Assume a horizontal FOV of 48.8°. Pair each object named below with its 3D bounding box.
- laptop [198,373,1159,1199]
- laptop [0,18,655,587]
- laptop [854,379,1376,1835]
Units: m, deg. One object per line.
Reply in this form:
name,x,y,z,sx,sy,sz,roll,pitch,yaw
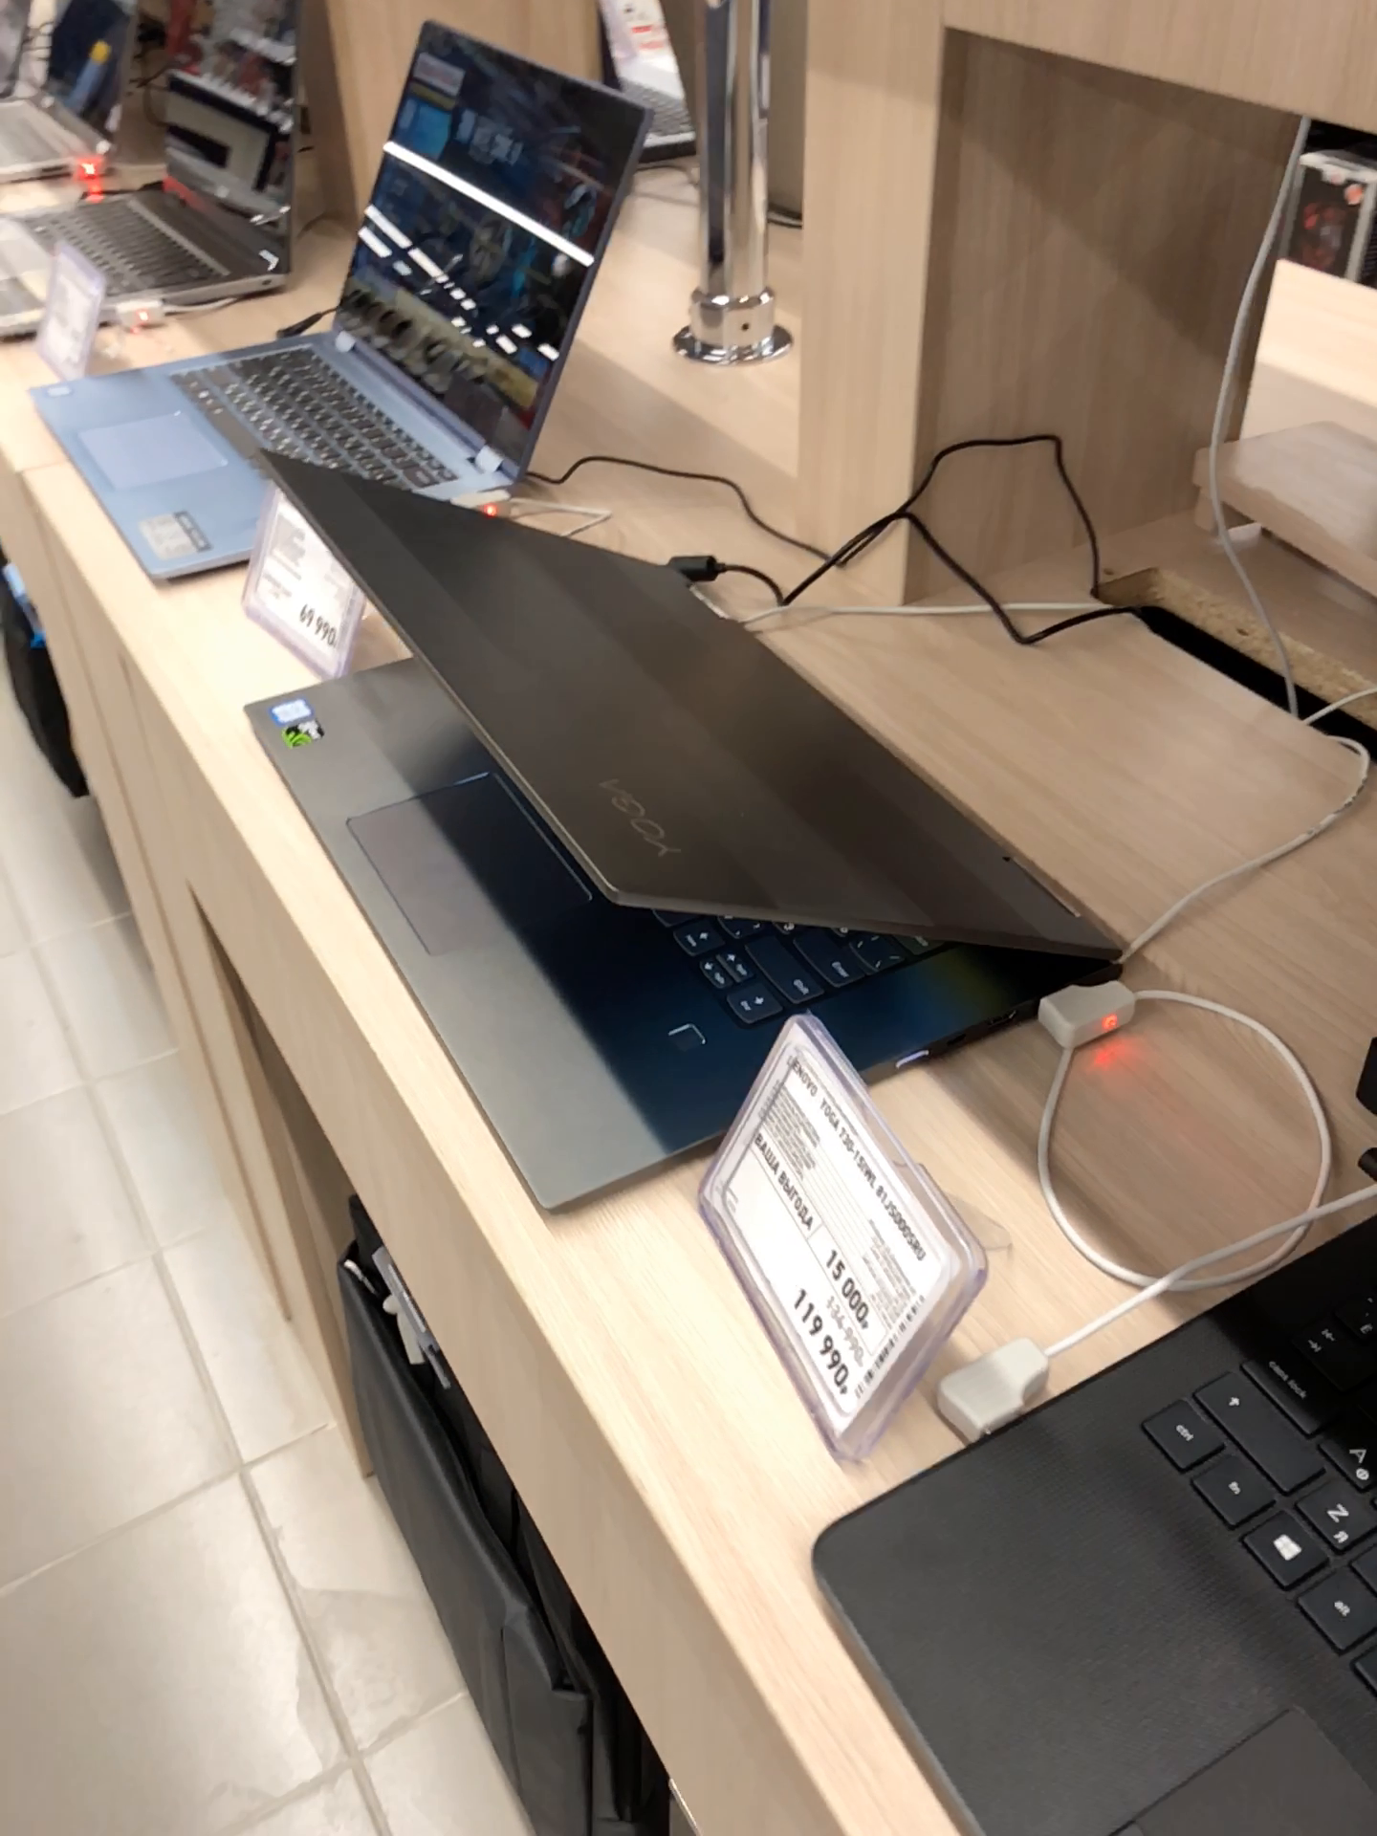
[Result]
laptop,-0.029,-0.092,0.643,0.243,0.118,0.364,-20,43,-21
laptop,-0.248,-0.432,1.002,0.343,0.201,0.355,-21,44,-23
laptop,0.270,0.129,0.252,0.304,0.240,0.403,-22,43,-22
